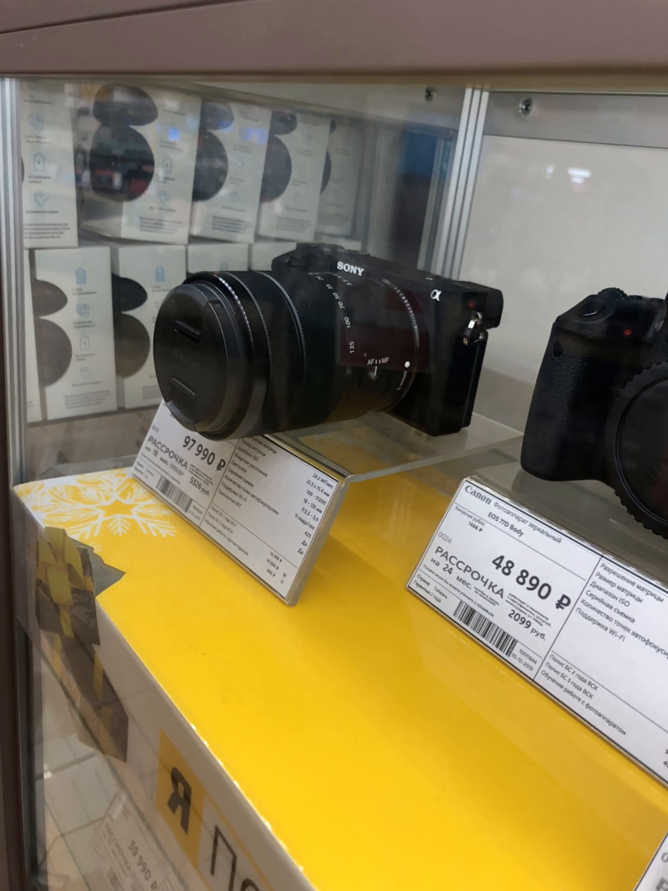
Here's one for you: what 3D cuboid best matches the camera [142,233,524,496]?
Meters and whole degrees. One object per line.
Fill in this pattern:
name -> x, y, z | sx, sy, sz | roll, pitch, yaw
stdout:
camera -> -0.008, -0.049, 0.356 | 0.123, 0.080, 0.130 | -9, 26, -35
